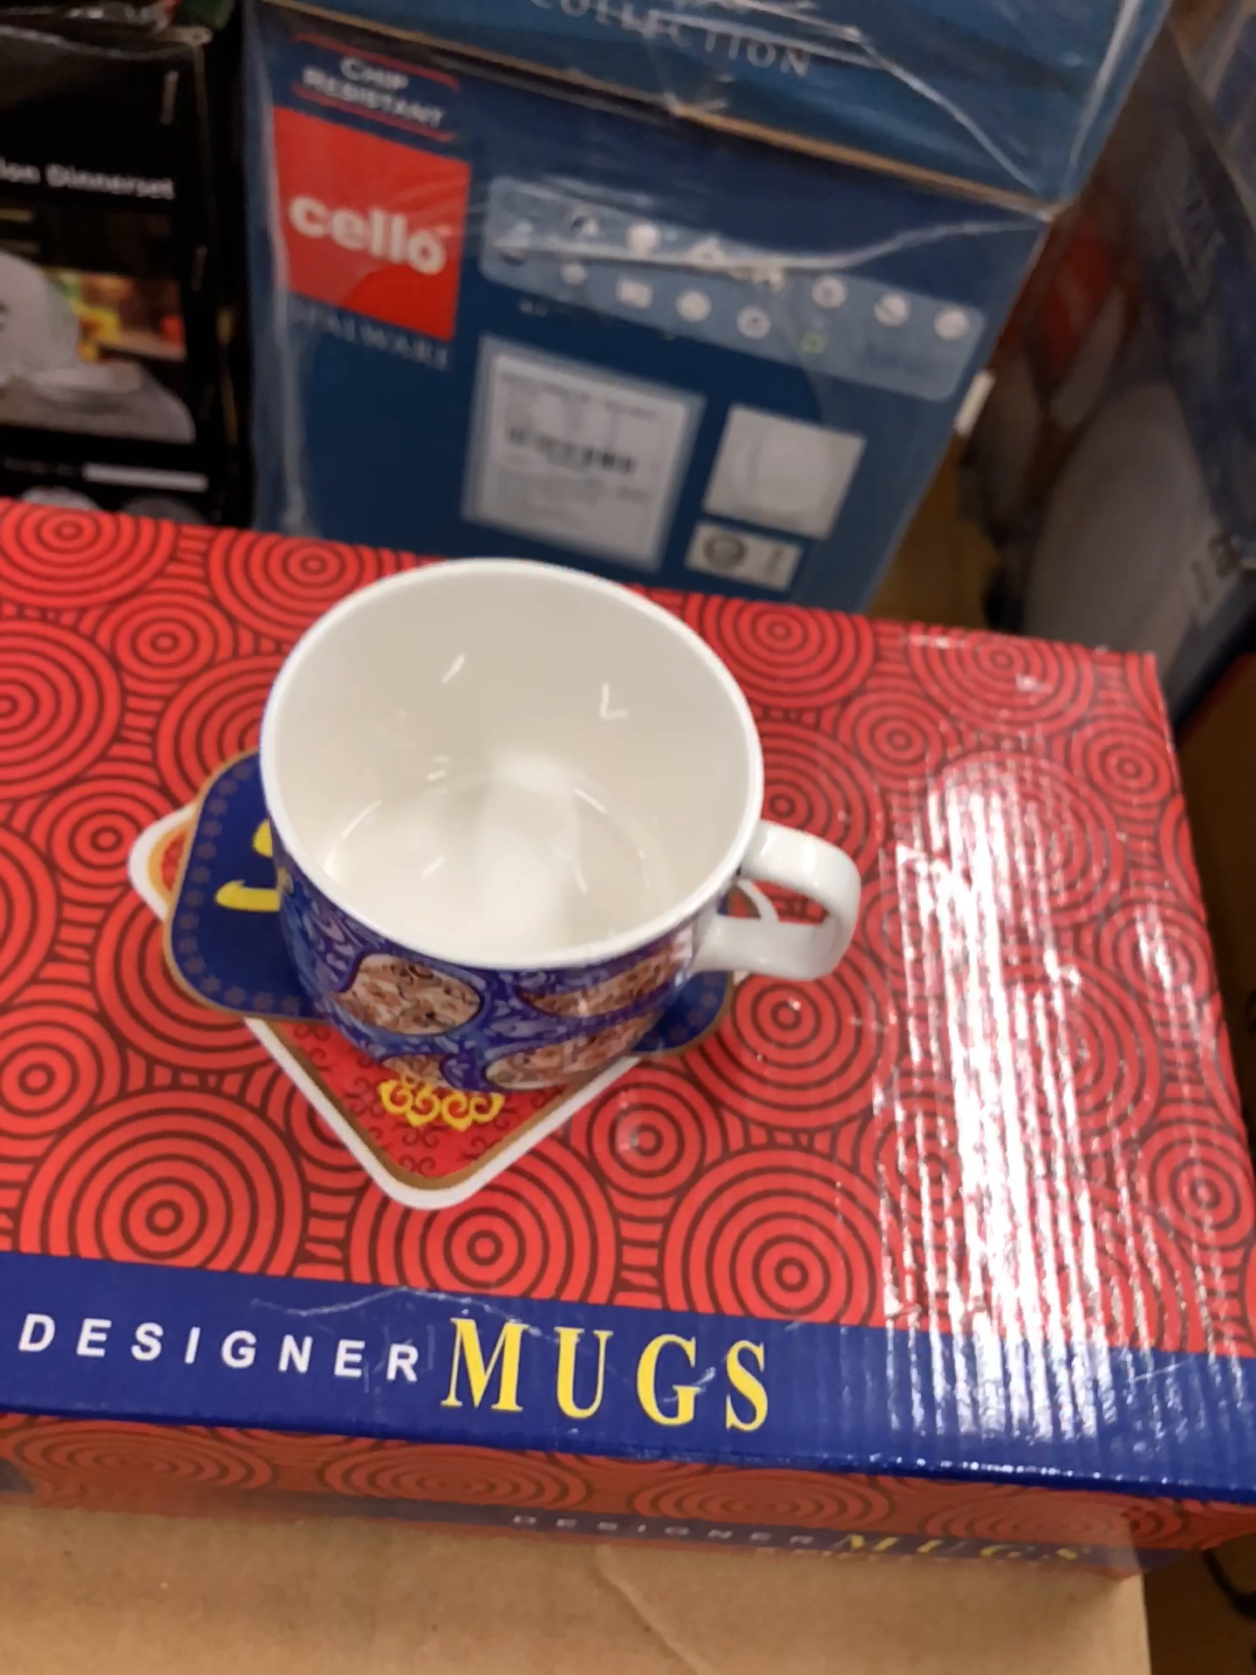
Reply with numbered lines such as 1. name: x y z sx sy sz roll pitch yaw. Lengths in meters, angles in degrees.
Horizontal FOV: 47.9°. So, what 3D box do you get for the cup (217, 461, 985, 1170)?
1. cup: -0.003 -0.002 0.226 0.100 0.060 0.070 14 54 -3
